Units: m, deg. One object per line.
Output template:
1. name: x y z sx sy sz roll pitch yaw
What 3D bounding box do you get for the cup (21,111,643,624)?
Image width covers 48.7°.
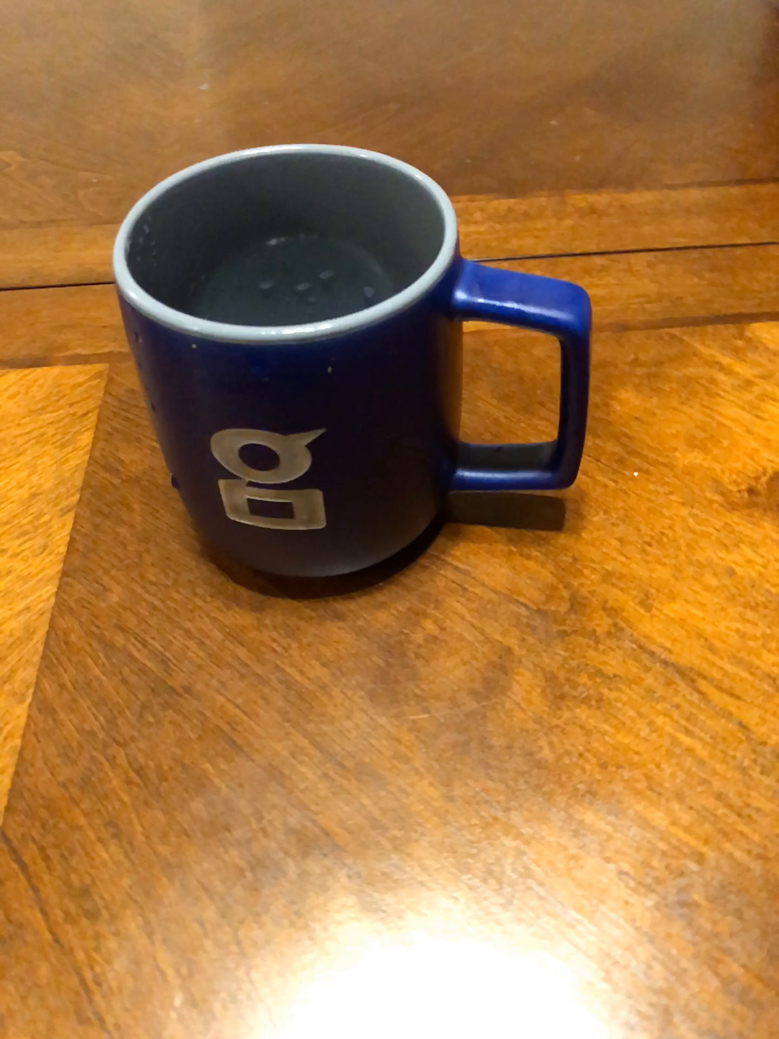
1. cup: -0.007 -0.047 0.259 0.140 0.099 0.101 6 50 7

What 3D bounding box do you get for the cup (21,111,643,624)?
1. cup: -0.007 -0.047 0.259 0.140 0.099 0.101 6 50 7
